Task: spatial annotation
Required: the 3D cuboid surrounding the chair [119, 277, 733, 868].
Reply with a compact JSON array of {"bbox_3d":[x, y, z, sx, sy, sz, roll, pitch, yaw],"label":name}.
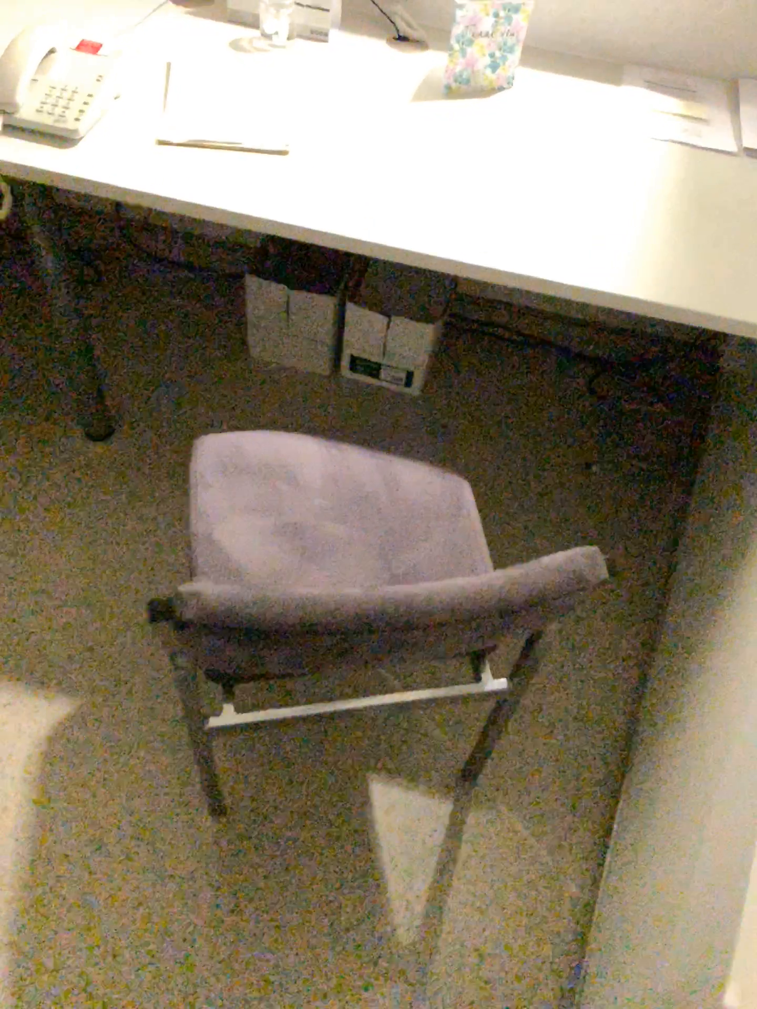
[{"bbox_3d":[-0.009,0.119,1.118,0.570,0.664,0.555,-2,52,-10],"label":"chair"}]
